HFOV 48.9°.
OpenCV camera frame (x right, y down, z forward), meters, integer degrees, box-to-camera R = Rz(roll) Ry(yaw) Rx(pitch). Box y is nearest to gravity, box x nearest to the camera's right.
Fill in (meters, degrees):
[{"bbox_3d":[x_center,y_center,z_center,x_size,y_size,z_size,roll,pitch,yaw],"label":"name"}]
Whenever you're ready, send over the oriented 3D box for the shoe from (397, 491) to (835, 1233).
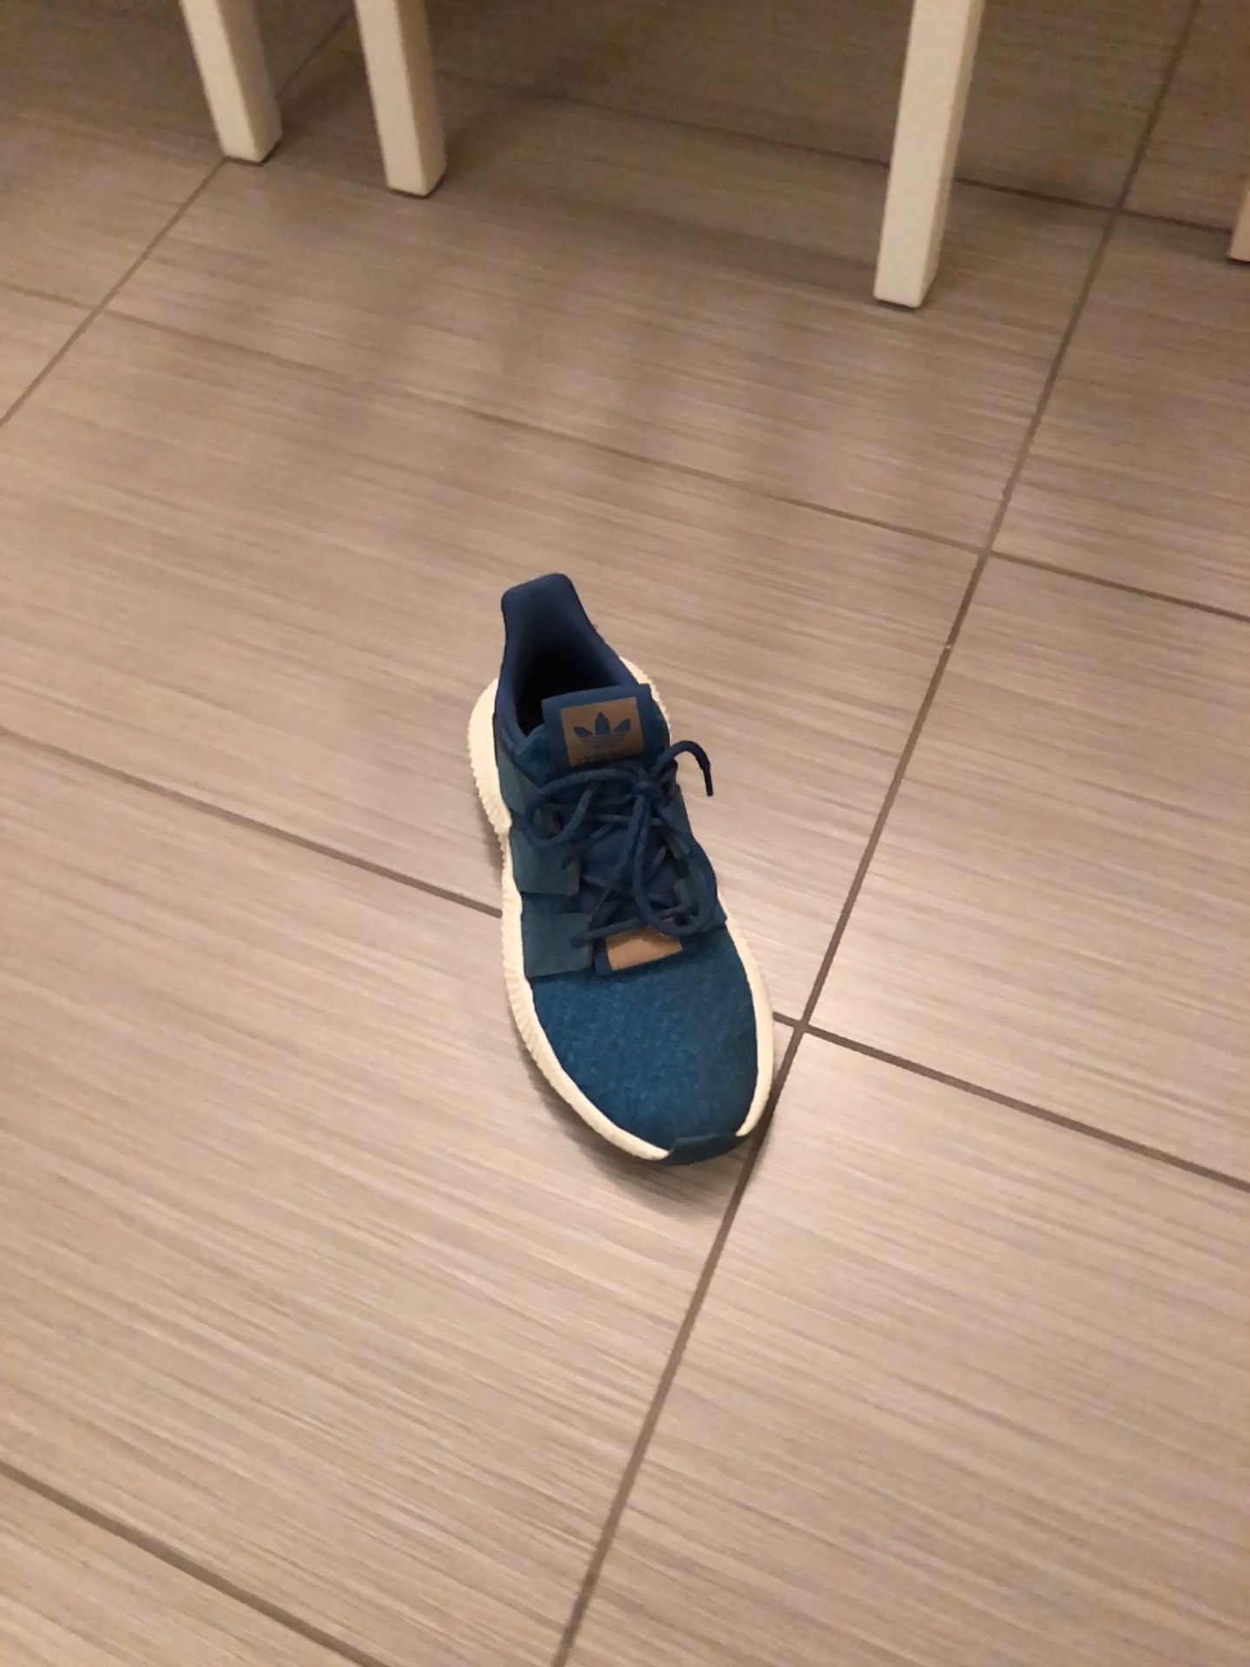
[{"bbox_3d":[-0.010,0.006,0.611,0.111,0.120,0.291,-15,60,-3],"label":"shoe"}]
